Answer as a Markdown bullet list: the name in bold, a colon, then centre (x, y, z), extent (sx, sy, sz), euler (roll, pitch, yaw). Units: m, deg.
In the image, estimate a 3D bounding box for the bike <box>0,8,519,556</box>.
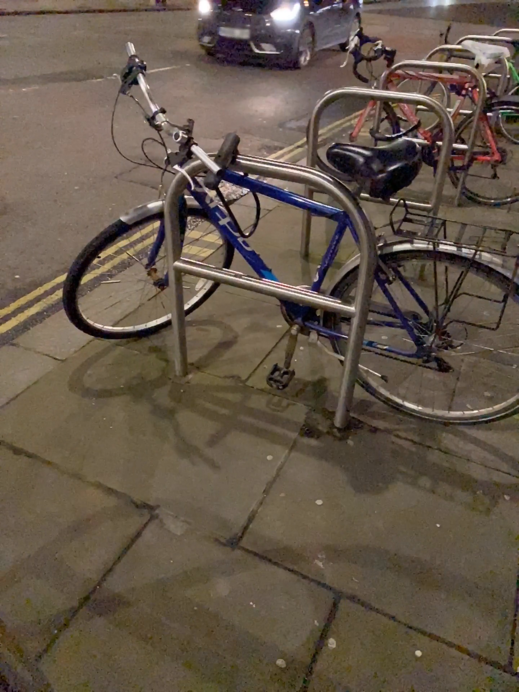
- **bike**: centre (0.110, -0.236, 1.551), extent (1.594, 1.108, 0.659), euler (14, 37, 13)
